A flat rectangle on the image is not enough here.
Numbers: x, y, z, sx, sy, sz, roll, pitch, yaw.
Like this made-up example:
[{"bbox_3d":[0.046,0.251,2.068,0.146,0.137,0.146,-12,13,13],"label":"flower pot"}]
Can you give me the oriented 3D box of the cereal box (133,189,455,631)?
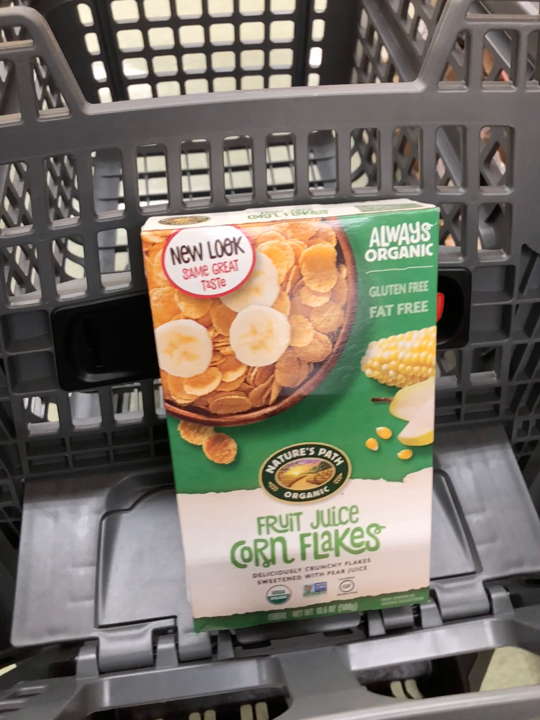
[{"bbox_3d":[0.017,0.028,0.346,0.150,0.230,0.070,-6,19,-5],"label":"cereal box"}]
